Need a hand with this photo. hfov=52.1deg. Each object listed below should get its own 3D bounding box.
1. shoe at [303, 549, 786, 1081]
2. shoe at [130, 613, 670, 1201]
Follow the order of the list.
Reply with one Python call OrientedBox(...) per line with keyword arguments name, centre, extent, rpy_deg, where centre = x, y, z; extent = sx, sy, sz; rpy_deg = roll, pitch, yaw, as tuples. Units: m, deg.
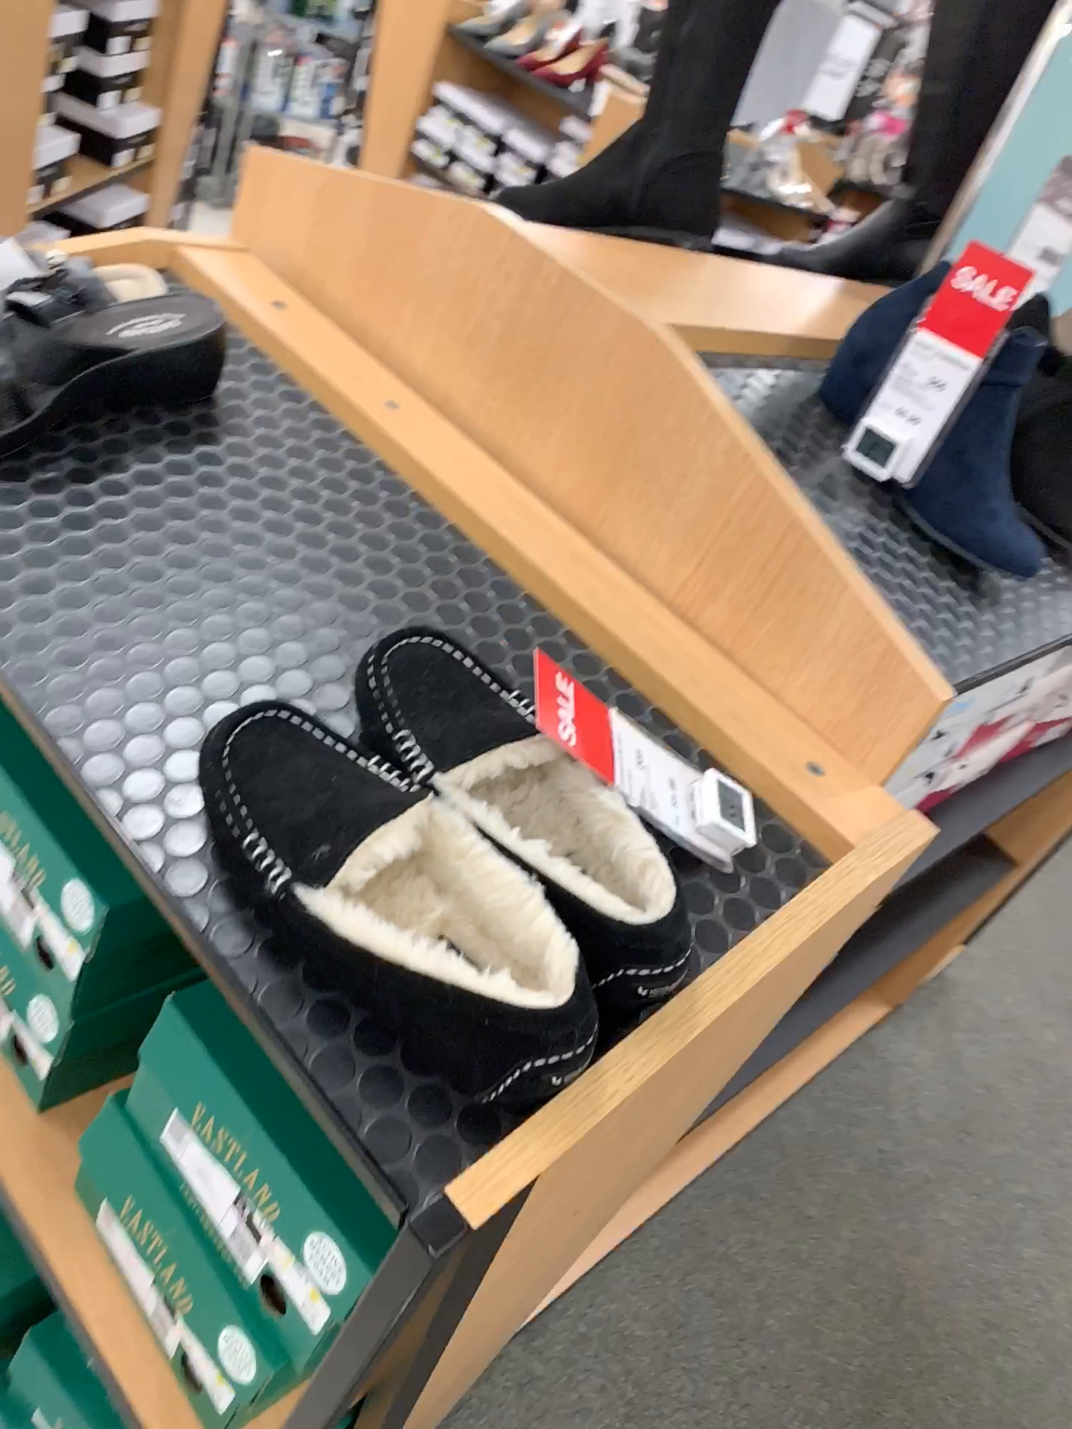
OrientedBox(name="shoe", centre=(-0.009, 0.039, 0.542), extent=(0.087, 0.090, 0.250), rpy_deg=(-29, 60, -28))
OrientedBox(name="shoe", centre=(-0.069, 0.077, 0.496), extent=(0.087, 0.090, 0.250), rpy_deg=(-34, 64, -30))
